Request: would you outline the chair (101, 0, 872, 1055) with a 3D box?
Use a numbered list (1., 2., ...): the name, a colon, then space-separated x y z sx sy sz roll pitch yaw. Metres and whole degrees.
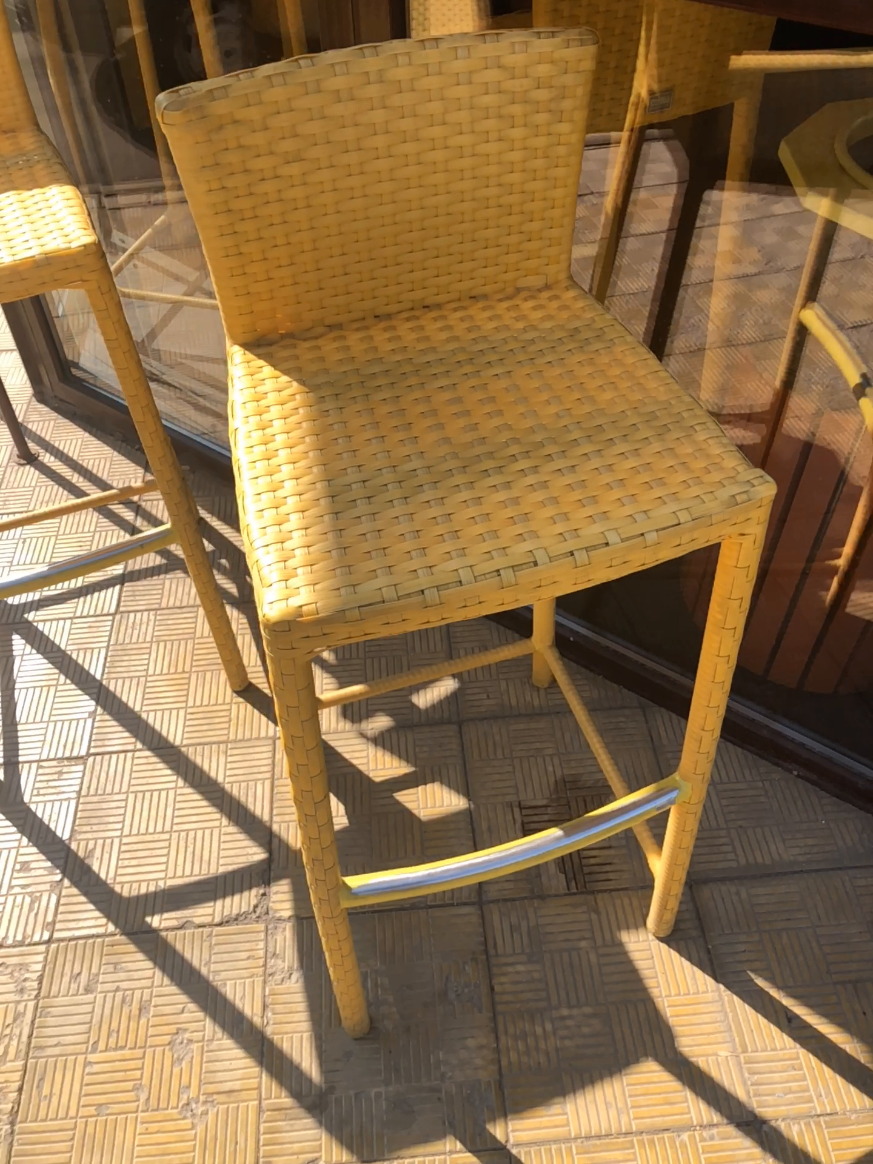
1. chair: 0.030 0.004 1.006 0.480 0.916 0.522 -13 48 -12
